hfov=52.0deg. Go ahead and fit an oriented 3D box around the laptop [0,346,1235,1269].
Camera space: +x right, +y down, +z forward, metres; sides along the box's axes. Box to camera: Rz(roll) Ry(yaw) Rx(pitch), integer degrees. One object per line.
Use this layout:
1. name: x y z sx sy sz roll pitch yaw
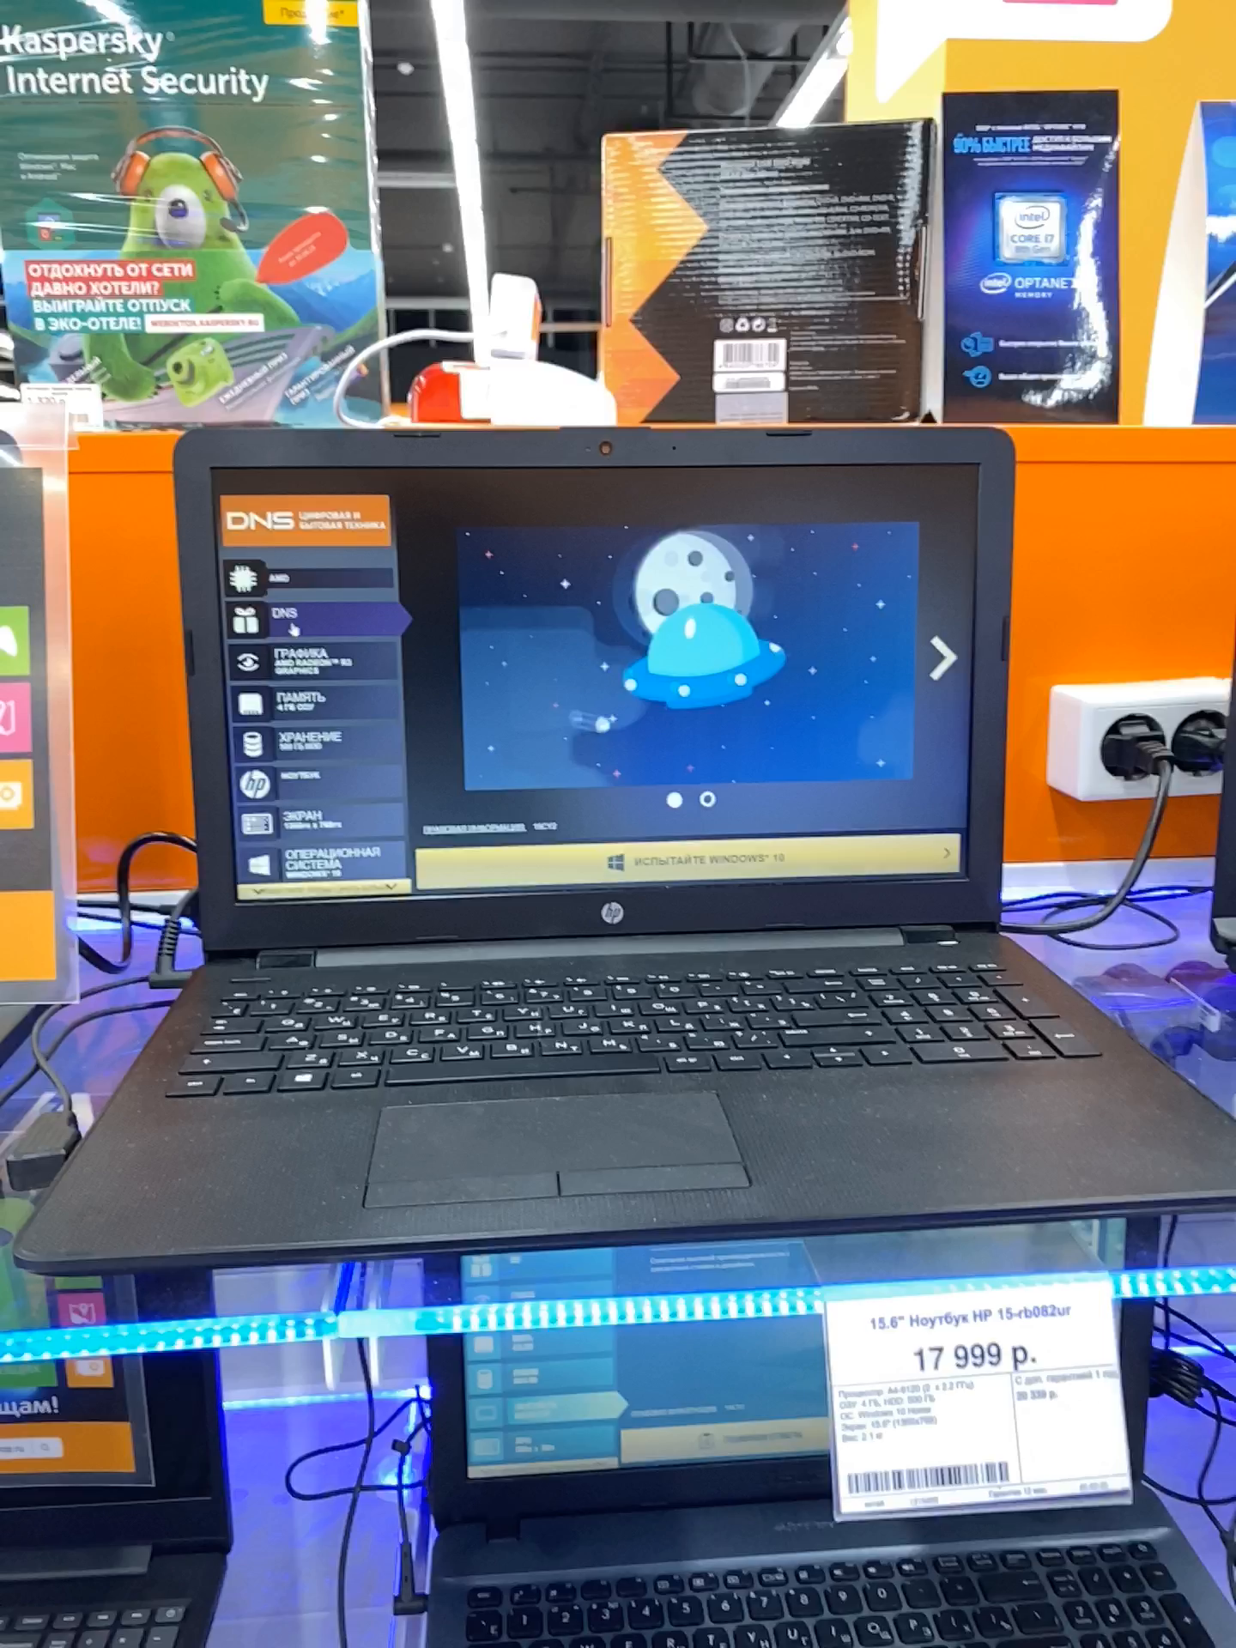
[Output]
1. laptop: 0.004 -0.031 0.463 0.369 0.231 0.272 -1 13 -6
